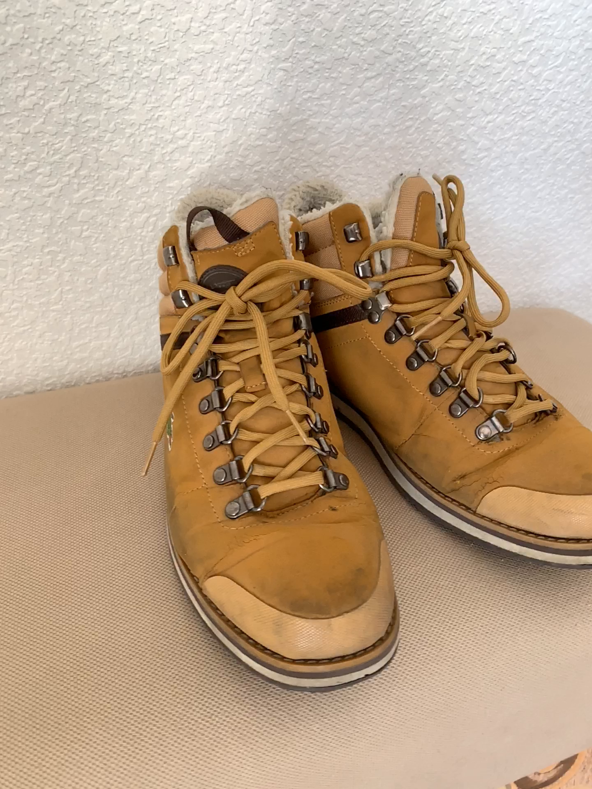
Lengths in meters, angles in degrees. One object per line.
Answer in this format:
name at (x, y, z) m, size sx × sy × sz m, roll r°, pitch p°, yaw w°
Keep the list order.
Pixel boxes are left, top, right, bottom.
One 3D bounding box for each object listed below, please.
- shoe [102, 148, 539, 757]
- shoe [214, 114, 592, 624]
shoe at (-0.026, -0.010, 0.332) m, size 0.120 × 0.149 × 0.301 m, roll -9°, pitch 39°, yaw -13°
shoe at (0.079, -0.046, 0.375) m, size 0.120 × 0.149 × 0.301 m, roll -23°, pitch 46°, yaw -27°
